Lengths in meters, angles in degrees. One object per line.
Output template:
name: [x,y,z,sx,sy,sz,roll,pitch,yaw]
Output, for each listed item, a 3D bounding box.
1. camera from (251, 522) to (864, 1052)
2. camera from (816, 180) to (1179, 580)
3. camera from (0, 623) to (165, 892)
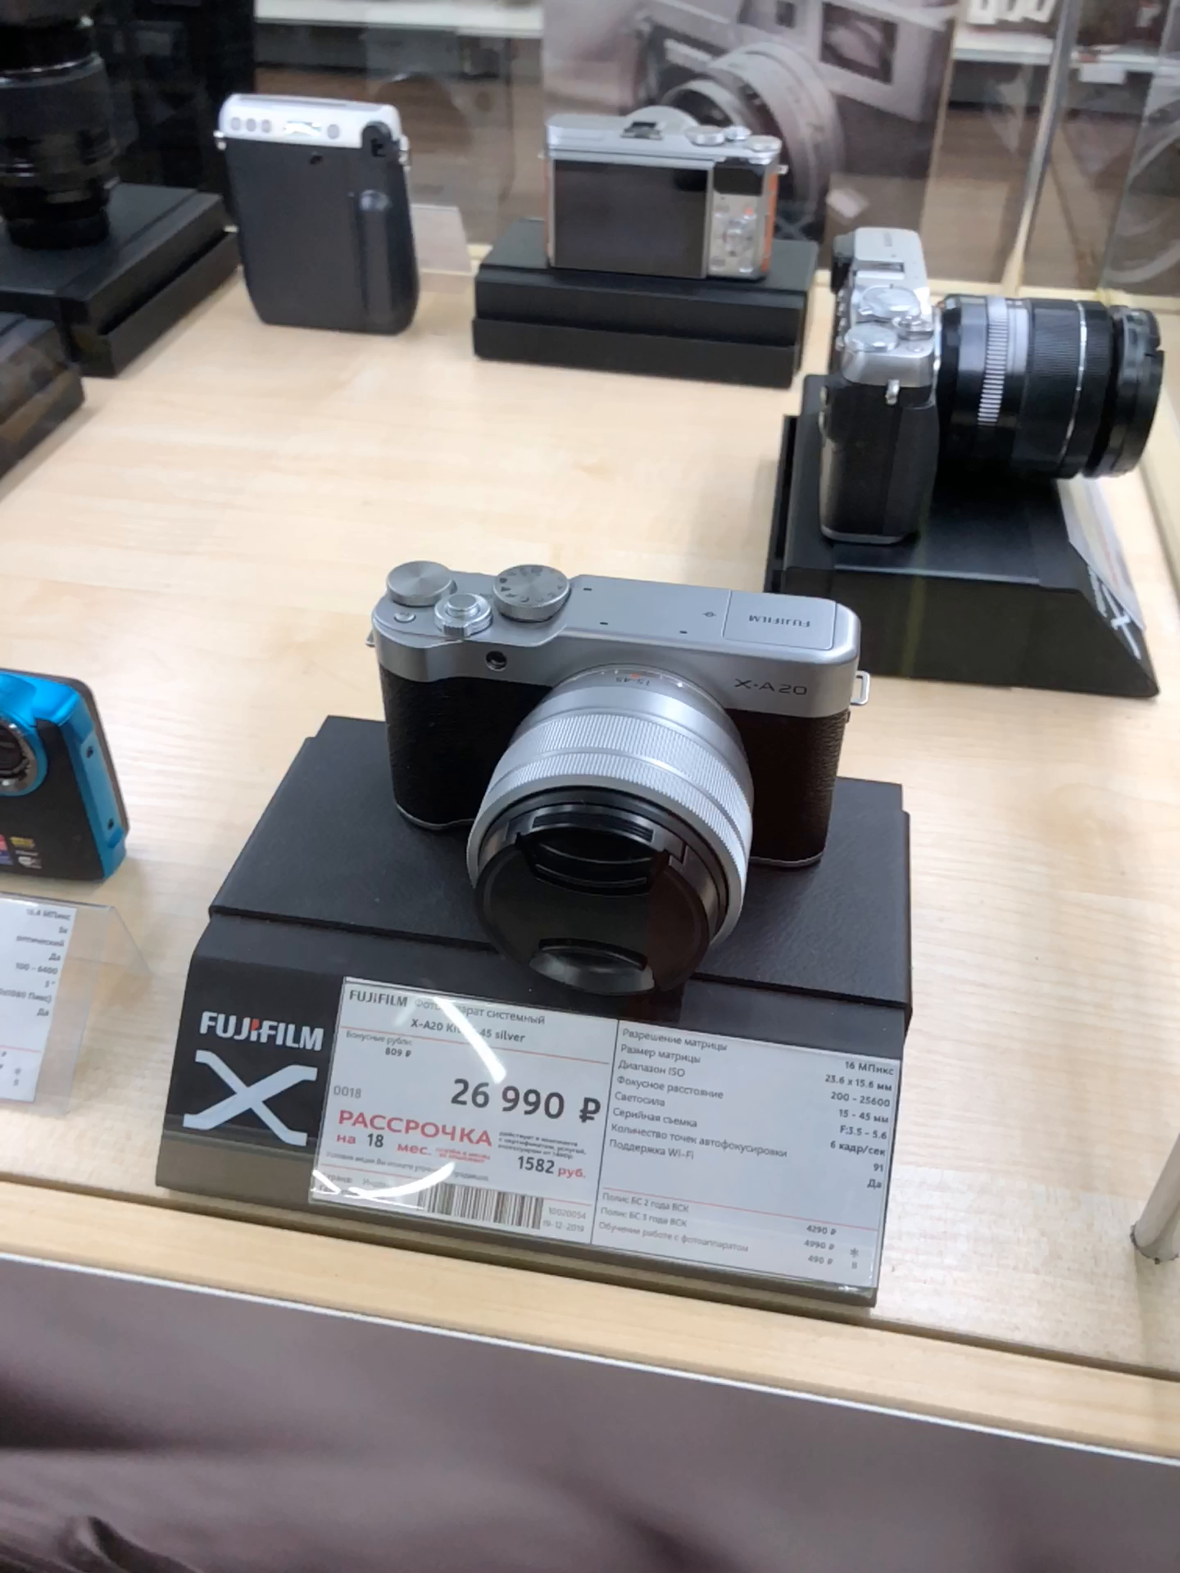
camera: [-0.001,-0.004,0.310,0.120,0.070,0.093,7,40,7]
camera: [0.159,-0.166,0.505,0.130,0.074,0.188,6,40,6]
camera: [-0.185,-0.008,0.380,0.106,0.064,0.025,7,40,8]
